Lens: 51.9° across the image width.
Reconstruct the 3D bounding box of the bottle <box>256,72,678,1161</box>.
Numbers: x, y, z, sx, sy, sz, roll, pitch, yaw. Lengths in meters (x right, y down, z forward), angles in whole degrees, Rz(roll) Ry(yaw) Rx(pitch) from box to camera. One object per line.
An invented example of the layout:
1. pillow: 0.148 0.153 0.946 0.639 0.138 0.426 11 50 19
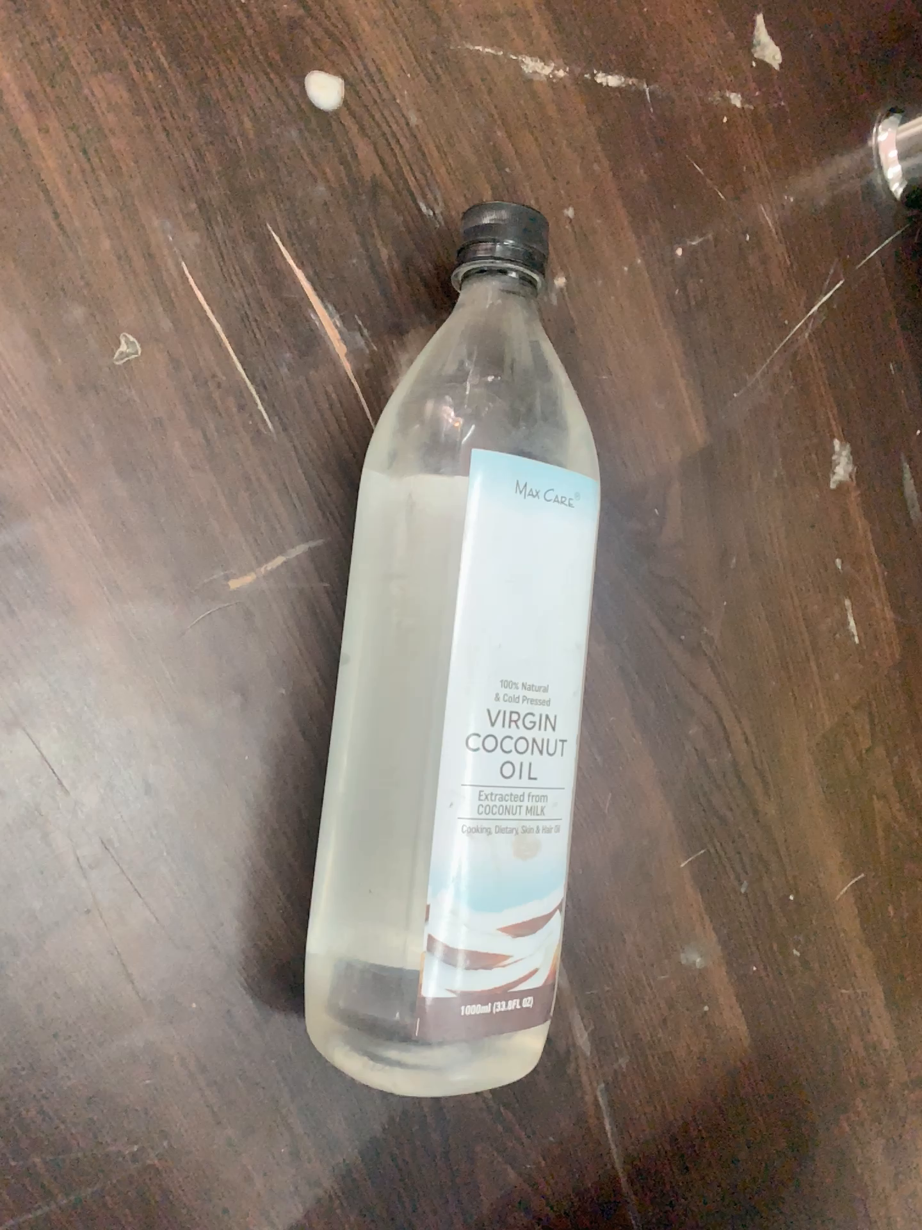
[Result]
1. bottle: 0.003 0.000 0.302 0.080 0.070 0.290 8 86 -35
